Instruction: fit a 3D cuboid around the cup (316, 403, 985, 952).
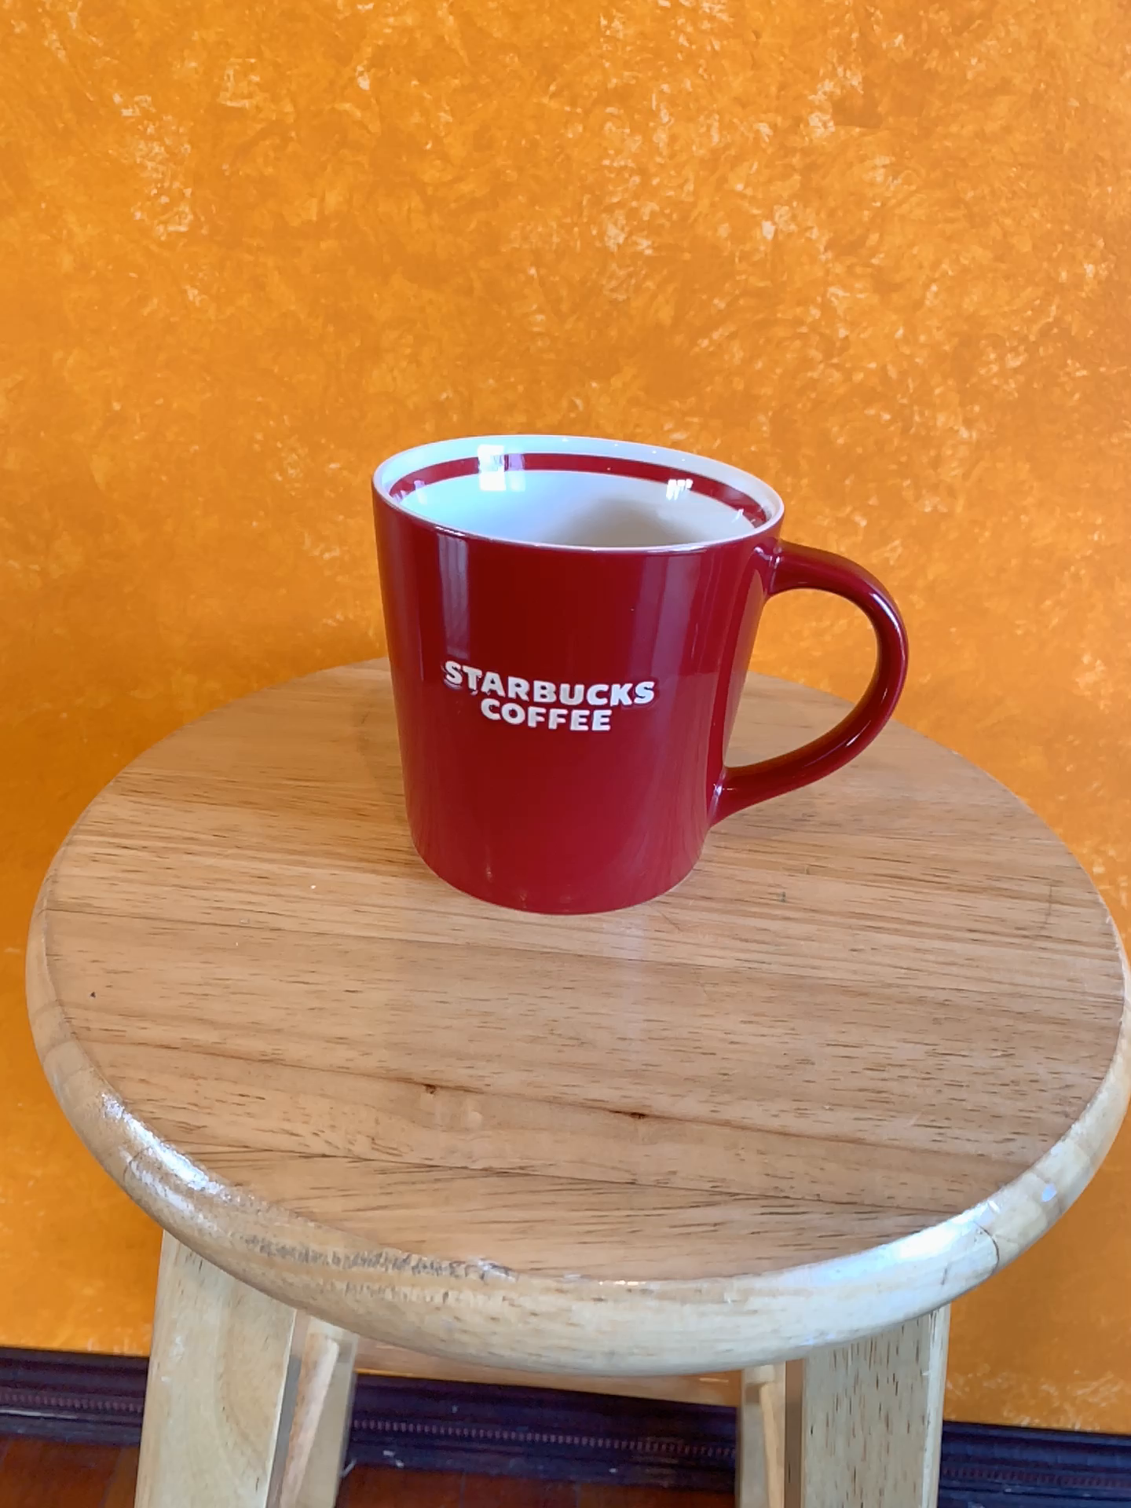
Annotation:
[{"bbox_3d":[0.019,-0.027,0.312,0.140,0.099,0.101,6,28,4],"label":"cup"}]
